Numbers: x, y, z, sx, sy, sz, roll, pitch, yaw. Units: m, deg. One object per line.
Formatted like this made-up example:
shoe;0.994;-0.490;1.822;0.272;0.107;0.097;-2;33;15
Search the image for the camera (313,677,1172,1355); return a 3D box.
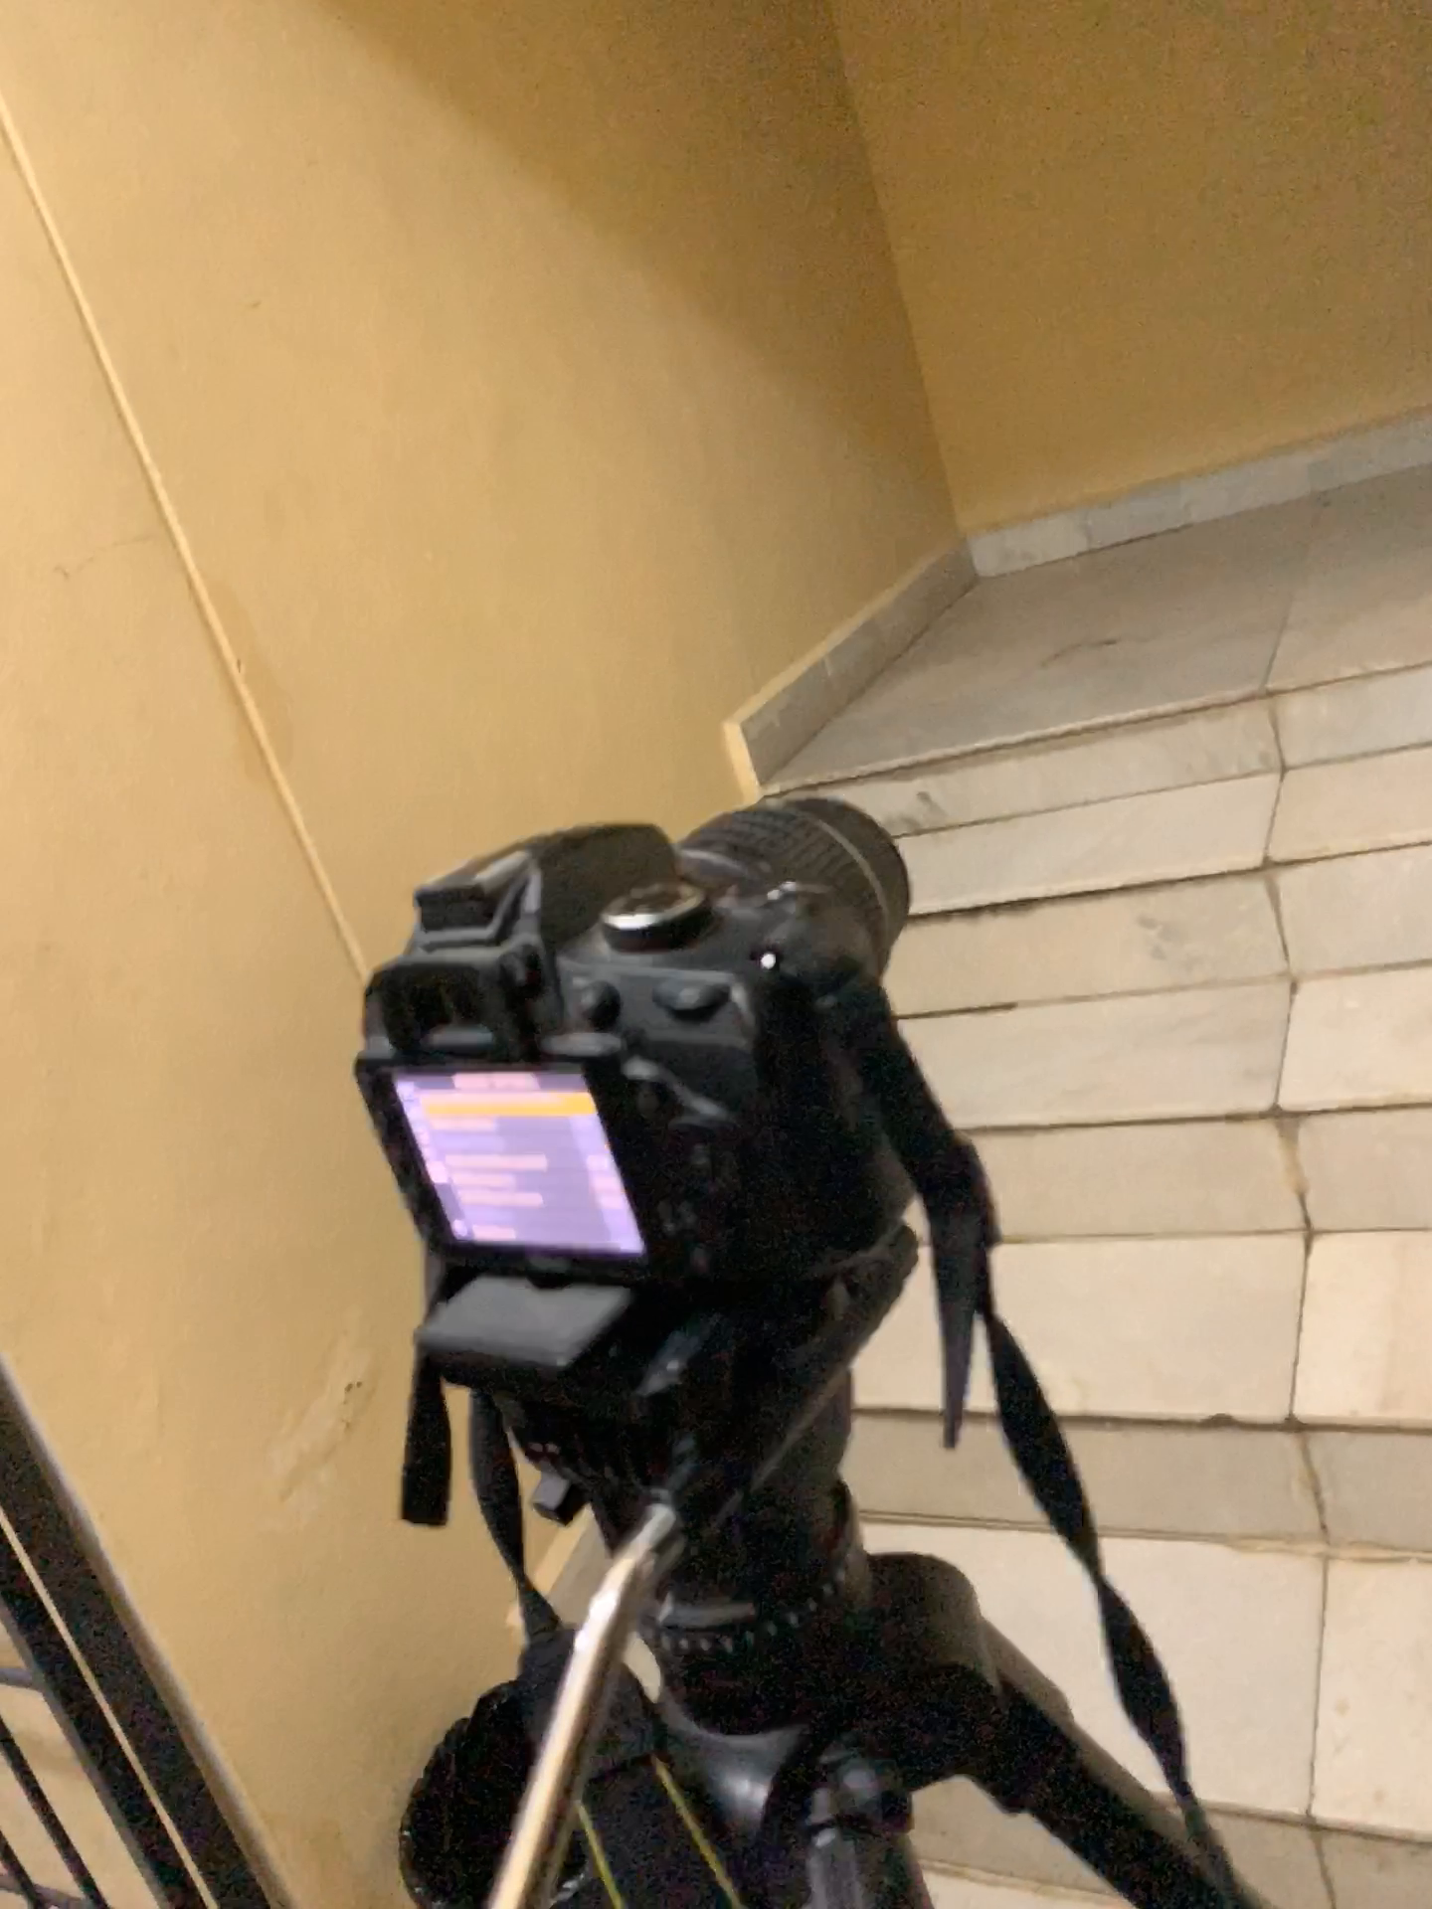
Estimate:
camera;0.011;0.007;0.340;0.134;0.090;0.130;-2;23;39
